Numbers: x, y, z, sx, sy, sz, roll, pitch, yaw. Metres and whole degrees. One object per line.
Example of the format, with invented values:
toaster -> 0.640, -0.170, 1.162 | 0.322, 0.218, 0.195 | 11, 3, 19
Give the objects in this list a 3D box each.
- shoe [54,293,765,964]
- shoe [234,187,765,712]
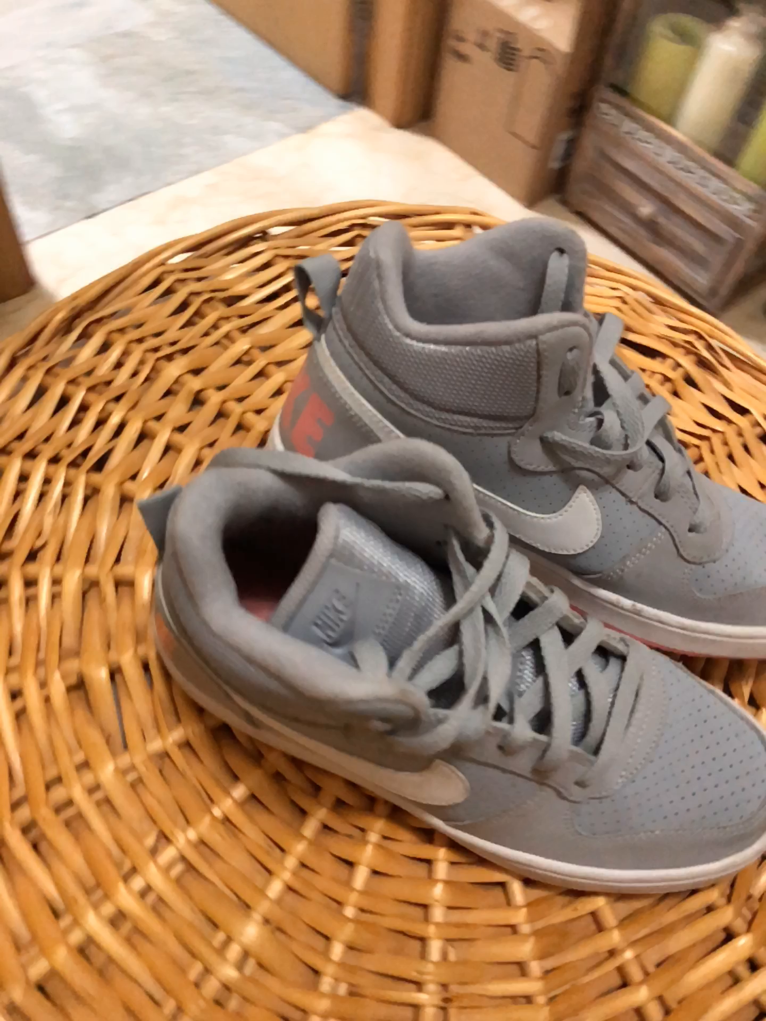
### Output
shoe -> 0.042, 0.048, 0.285 | 0.251, 0.120, 0.105 | 21, 57, 0
shoe -> 0.077, -0.023, 0.338 | 0.247, 0.117, 0.099 | 14, 46, 2
